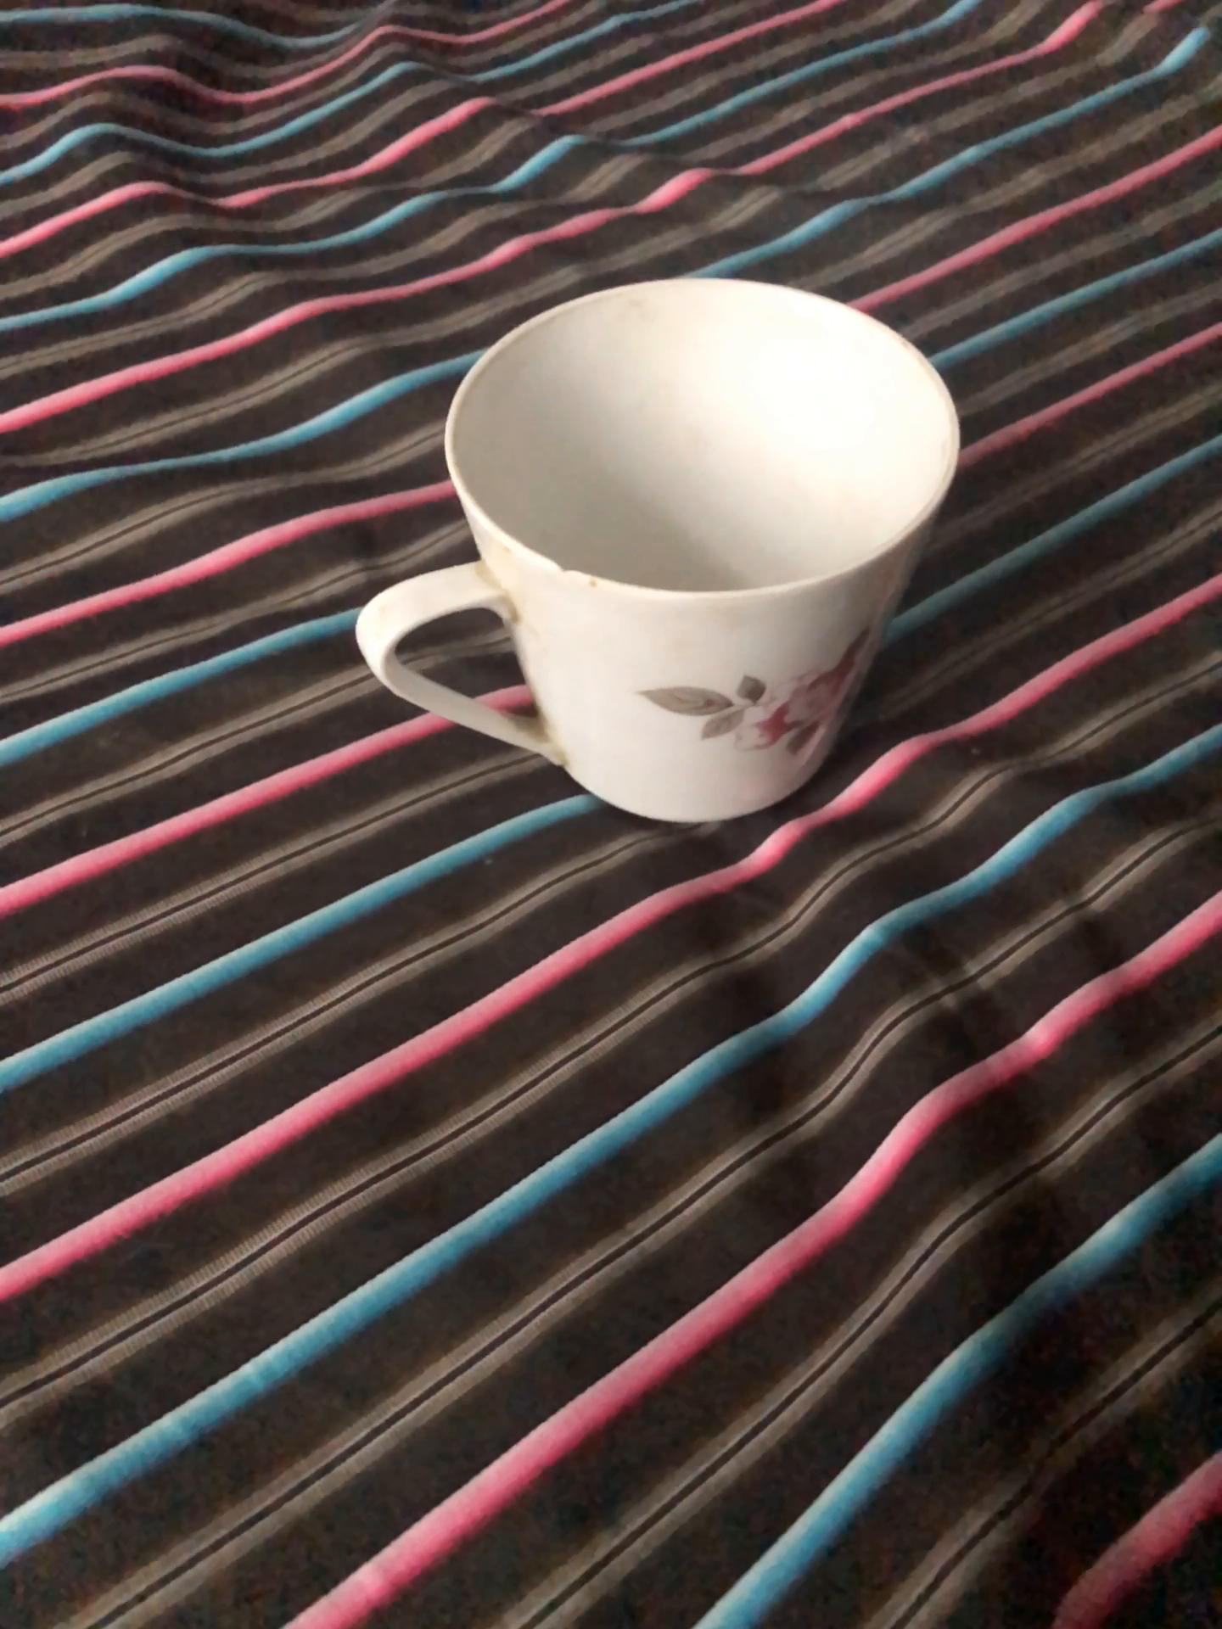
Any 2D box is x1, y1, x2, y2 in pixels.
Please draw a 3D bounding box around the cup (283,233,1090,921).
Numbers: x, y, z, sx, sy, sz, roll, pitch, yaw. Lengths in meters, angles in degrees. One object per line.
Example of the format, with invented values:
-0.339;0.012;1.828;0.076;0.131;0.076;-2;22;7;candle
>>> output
0.008;-0.040;0.216;0.094;0.049;0.074;-18;56;-12;cup
